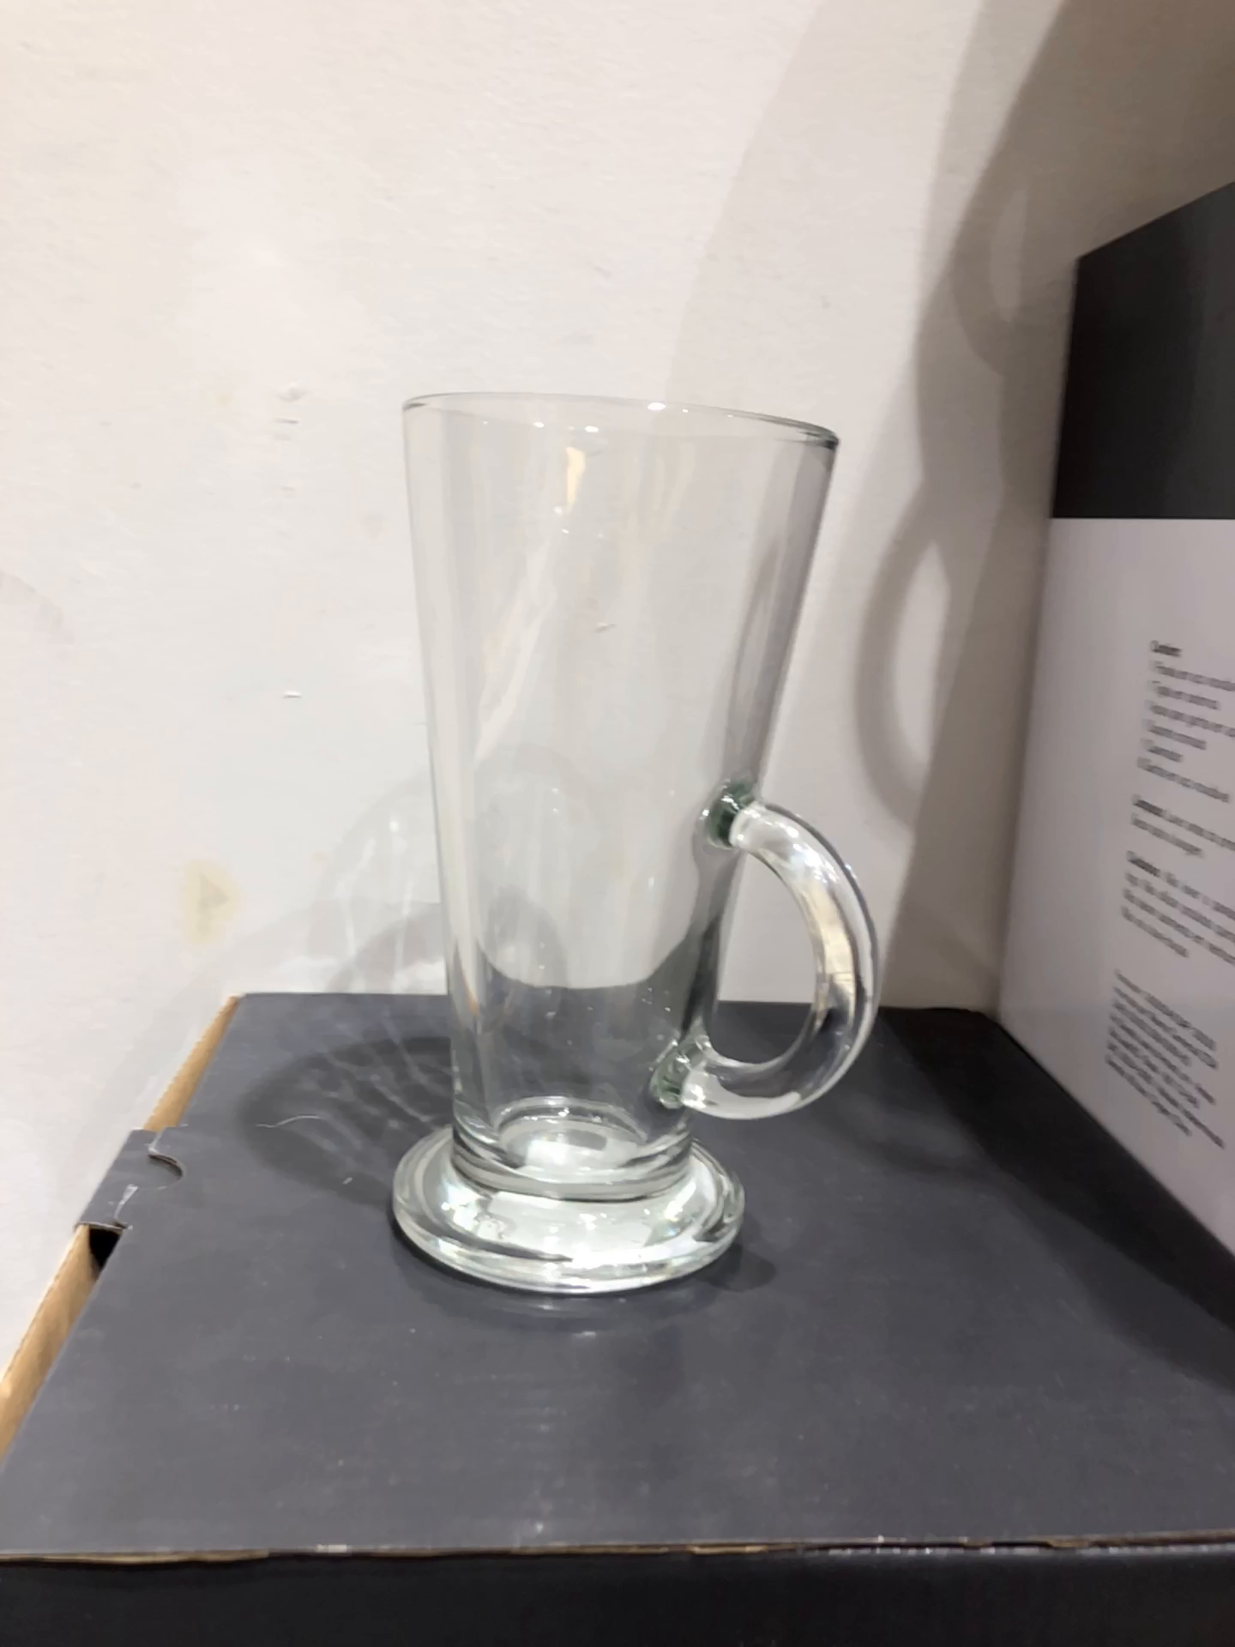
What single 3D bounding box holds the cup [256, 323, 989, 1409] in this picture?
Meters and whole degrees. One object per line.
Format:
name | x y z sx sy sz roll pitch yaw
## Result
cup | -0.002 -0.002 0.241 0.090 0.149 0.080 12 15 36
